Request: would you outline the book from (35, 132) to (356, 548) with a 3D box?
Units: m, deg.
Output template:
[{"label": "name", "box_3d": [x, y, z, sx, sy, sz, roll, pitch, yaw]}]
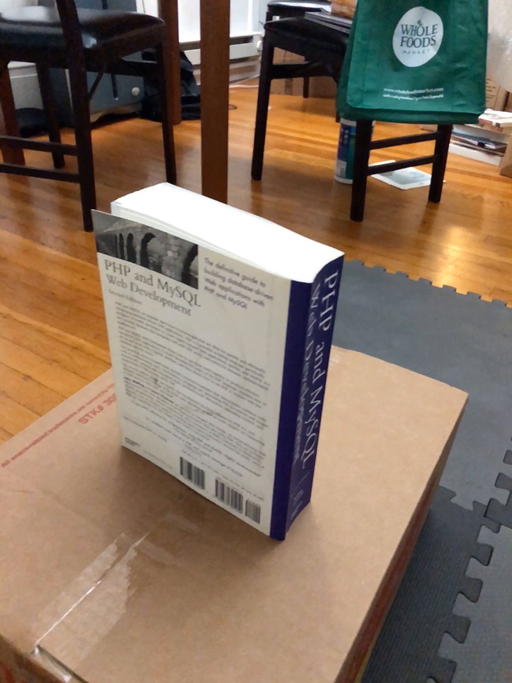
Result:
[{"label": "book", "box_3d": [-0.051, -0.005, 0.443, 0.200, 0.258, 0.090, 22, 36, 27]}]
